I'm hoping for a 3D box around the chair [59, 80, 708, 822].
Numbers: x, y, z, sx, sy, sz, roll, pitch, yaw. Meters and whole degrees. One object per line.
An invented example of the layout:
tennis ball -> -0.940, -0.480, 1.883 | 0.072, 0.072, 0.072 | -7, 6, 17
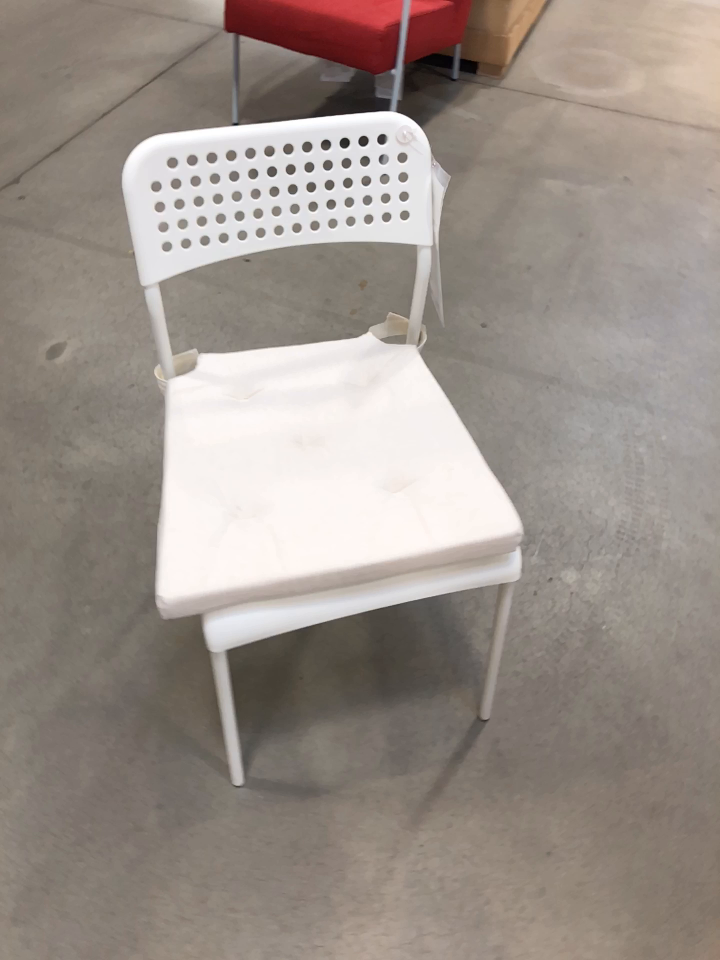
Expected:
chair -> -0.036, -0.006, 1.035 | 0.480, 0.738, 0.531 | -11, 51, -12
